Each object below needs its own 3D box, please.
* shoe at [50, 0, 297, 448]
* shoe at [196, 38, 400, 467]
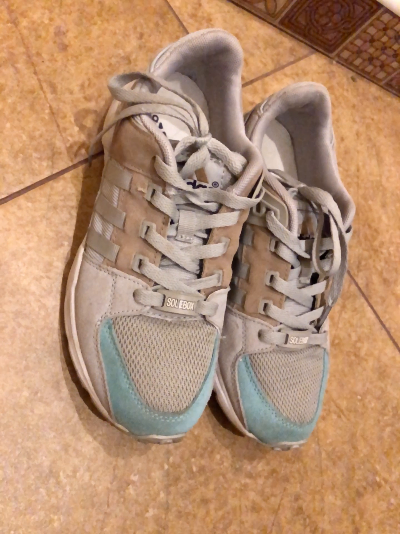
[{"bbox_3d":[-0.016,-0.033,0.279,0.110,0.080,0.260,10,71,-28],"label":"shoe"},{"bbox_3d":[0.068,-0.010,0.317,0.108,0.080,0.260,6,72,-29],"label":"shoe"}]
